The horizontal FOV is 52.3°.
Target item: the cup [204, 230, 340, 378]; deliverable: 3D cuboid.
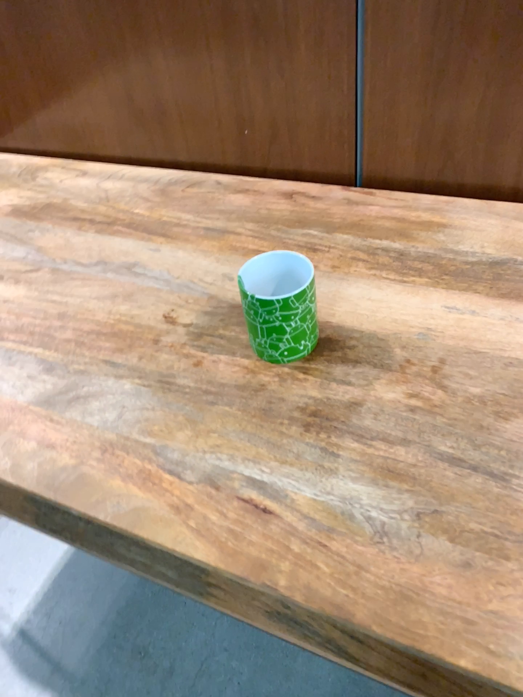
[{"bbox_3d":[0.011,-0.054,0.601,0.100,0.080,0.131,-22,45,-13],"label":"cup"}]
